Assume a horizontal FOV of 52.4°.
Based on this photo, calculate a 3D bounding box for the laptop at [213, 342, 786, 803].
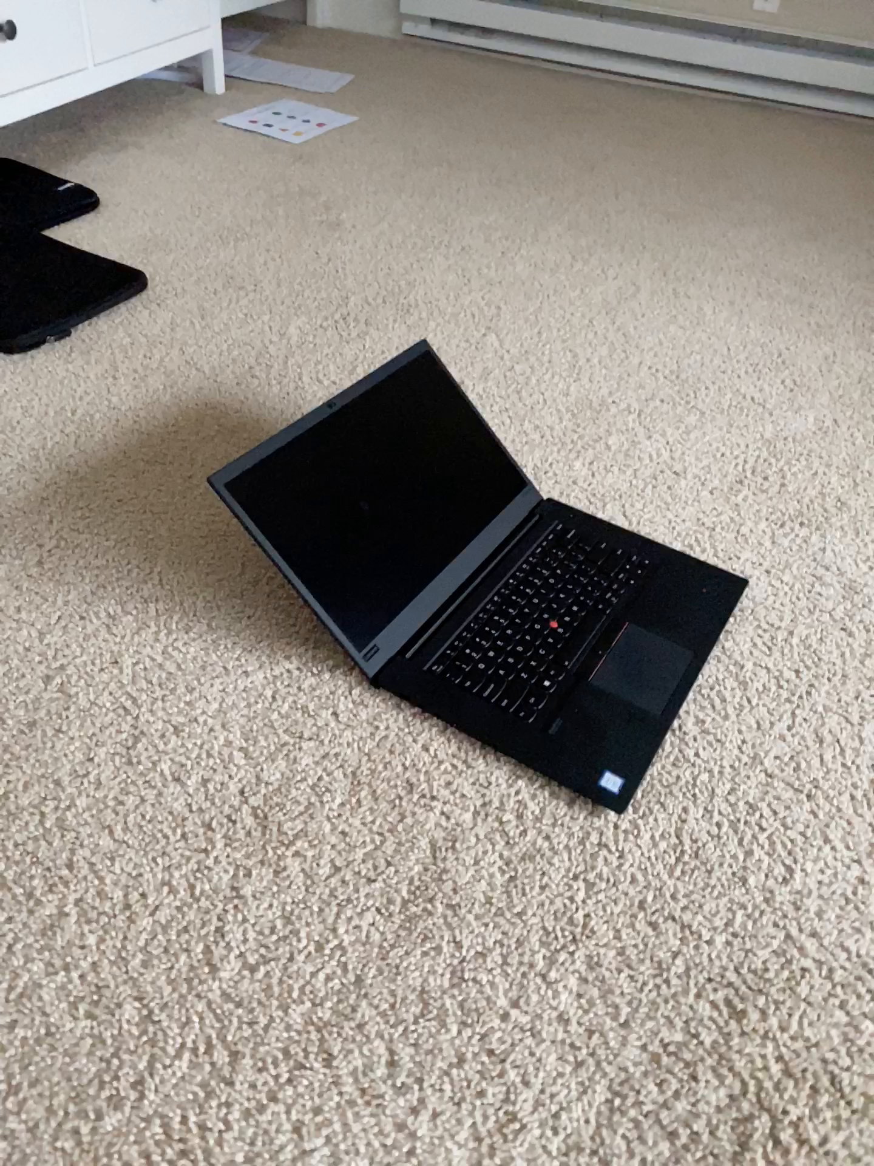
[{"bbox_3d":[0.068,-0.050,0.896,0.433,0.141,0.361,25,44,20],"label":"laptop"}]
